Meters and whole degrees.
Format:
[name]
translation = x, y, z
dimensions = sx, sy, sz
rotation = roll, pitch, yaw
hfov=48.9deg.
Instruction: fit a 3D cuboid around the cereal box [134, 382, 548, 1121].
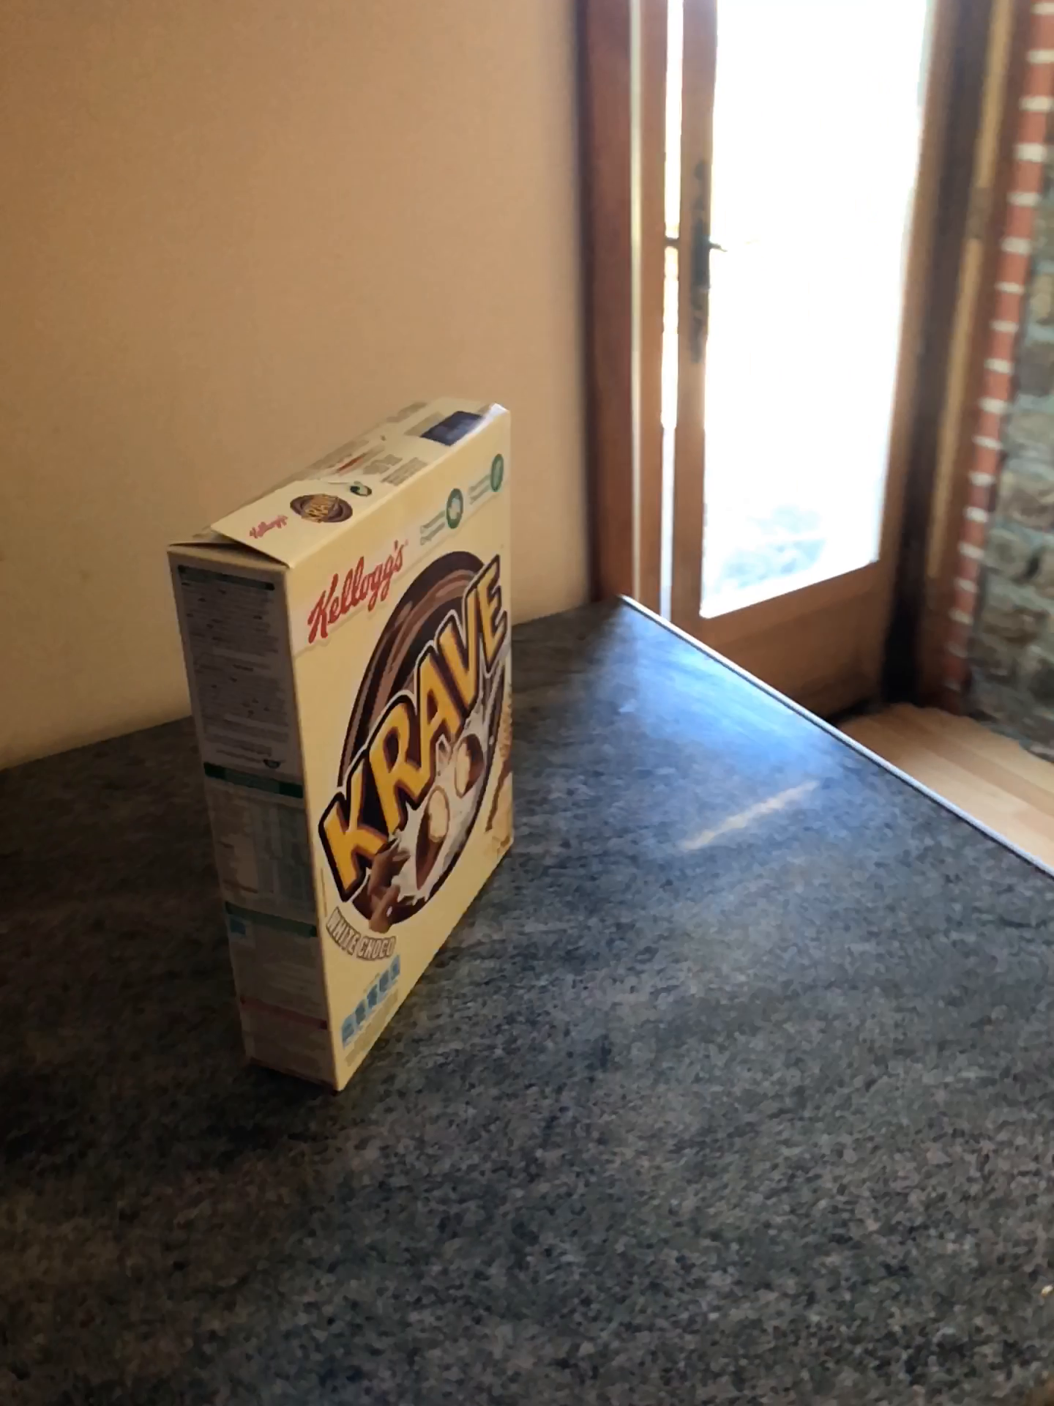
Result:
[cereal box]
translation = -0.066, 0.010, 0.516
dimensions = 0.070, 0.248, 0.211
rotation = 13, 30, 16
